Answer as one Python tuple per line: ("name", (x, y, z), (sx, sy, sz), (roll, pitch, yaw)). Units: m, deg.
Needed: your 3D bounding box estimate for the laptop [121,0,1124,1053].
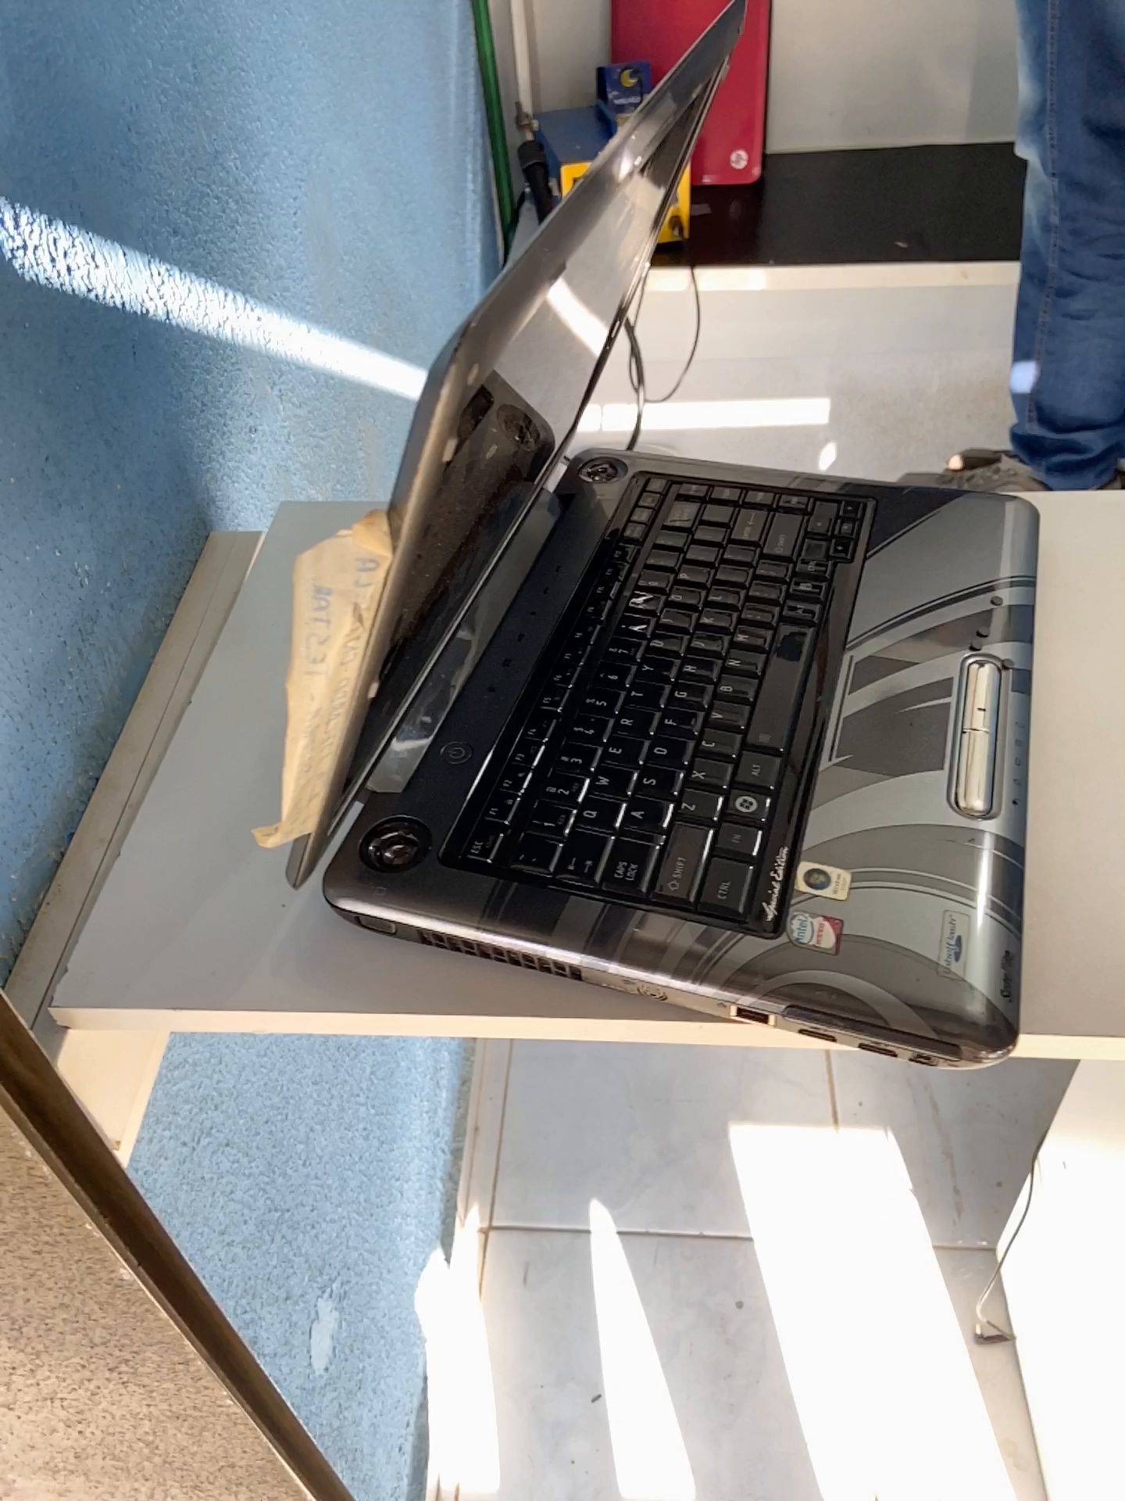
("laptop", (0.072, -0.125, 0.468), (0.258, 0.235, 0.360), (10, 46, 15))
